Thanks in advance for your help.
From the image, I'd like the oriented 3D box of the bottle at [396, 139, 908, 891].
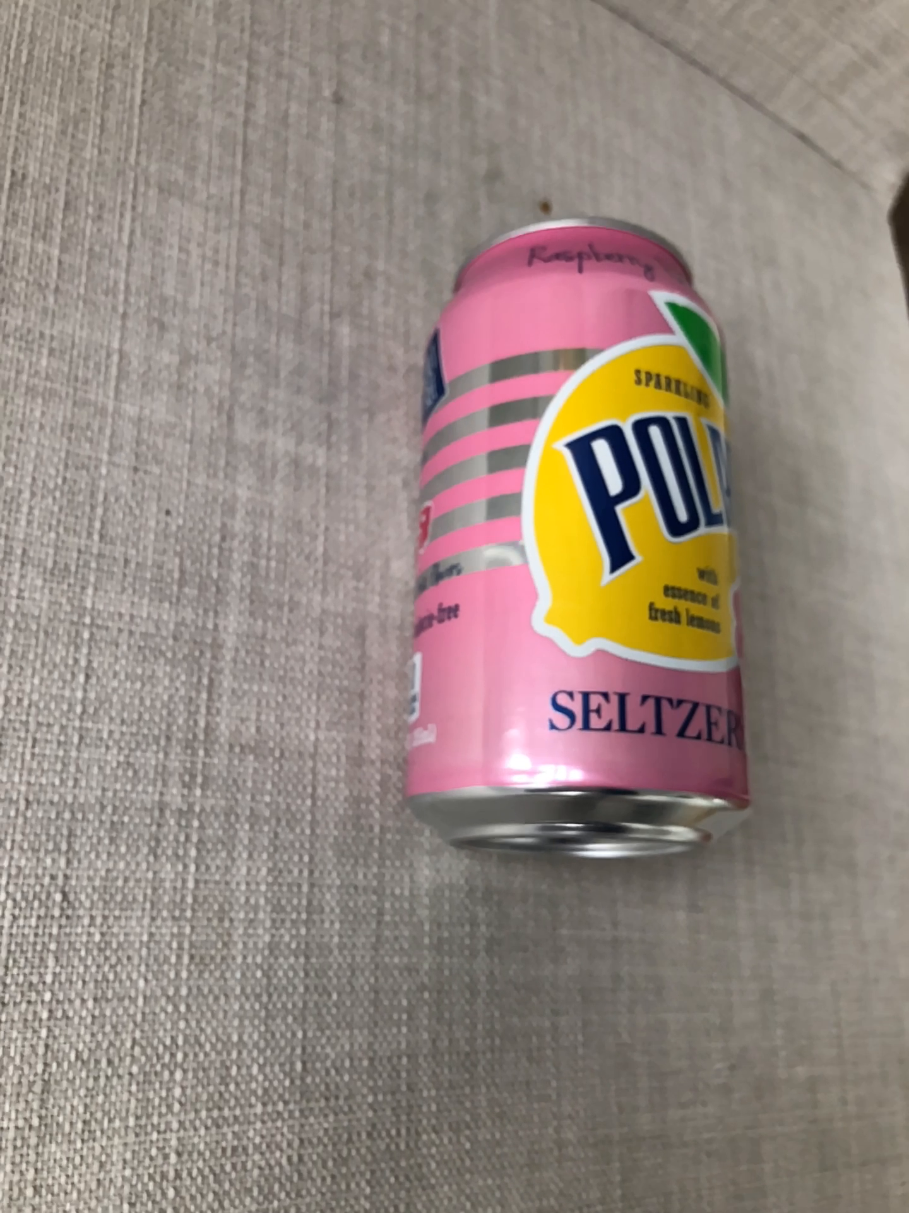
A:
[{"bbox_3d":[0.037,-0.008,0.204,0.070,0.065,0.122,12,70,-35],"label":"bottle"}]
